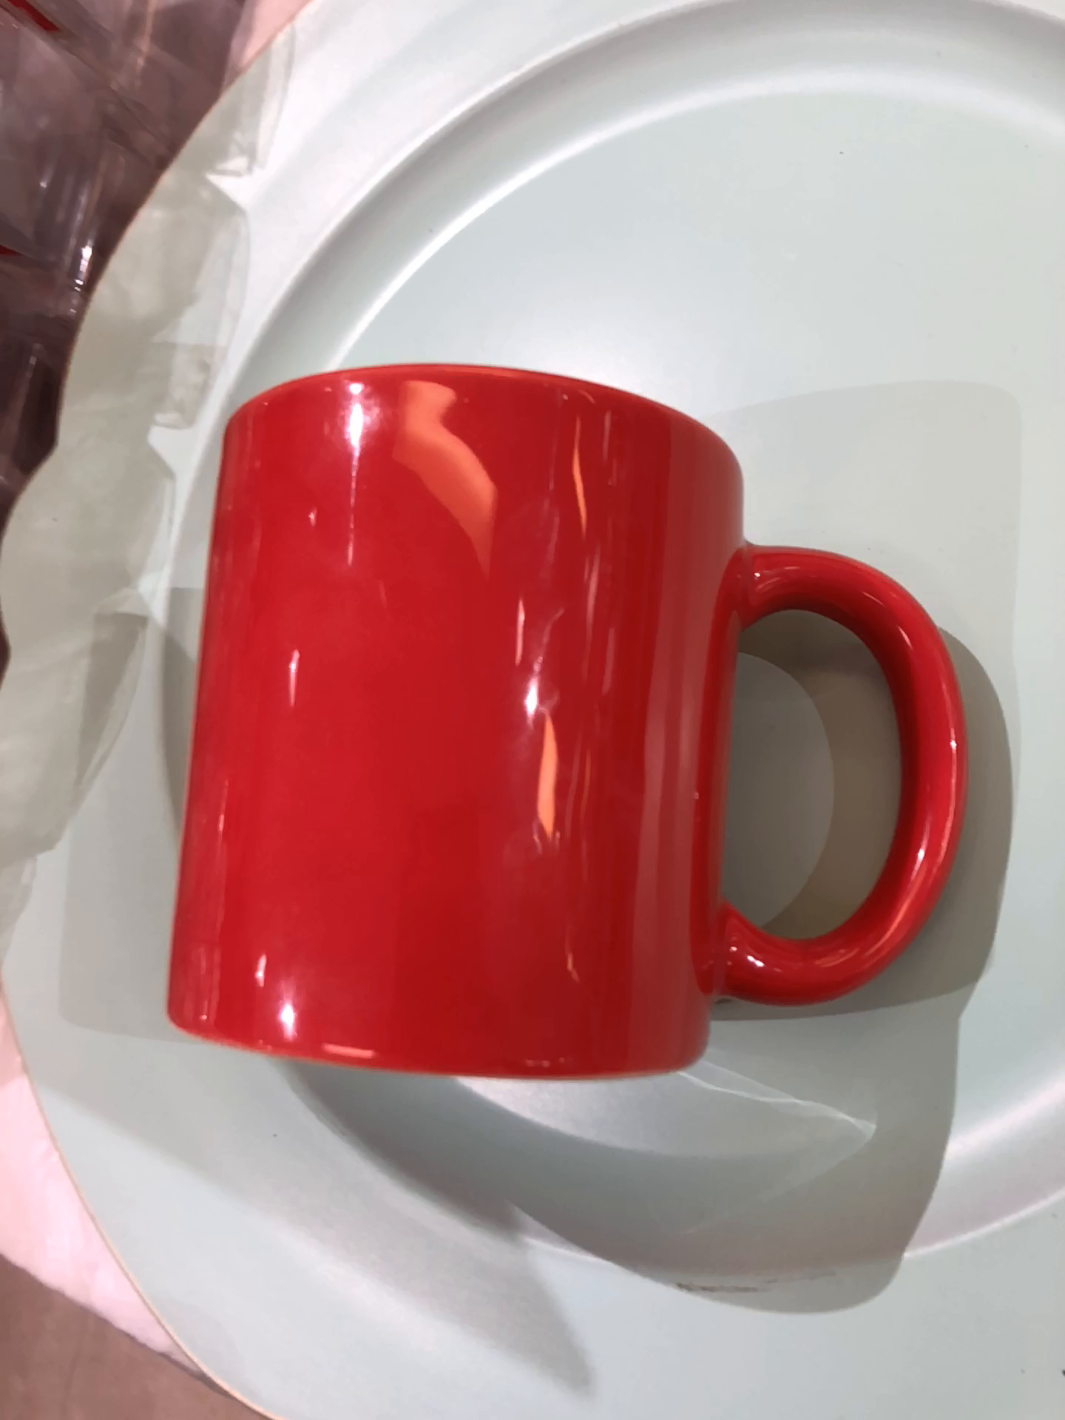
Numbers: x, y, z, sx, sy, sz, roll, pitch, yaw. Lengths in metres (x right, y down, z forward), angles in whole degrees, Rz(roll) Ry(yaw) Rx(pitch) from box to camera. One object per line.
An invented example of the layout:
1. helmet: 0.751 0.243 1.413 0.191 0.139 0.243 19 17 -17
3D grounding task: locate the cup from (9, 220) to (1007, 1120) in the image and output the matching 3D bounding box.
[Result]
1. cup: -0.001 -0.002 0.169 0.110 0.060 0.100 1 80 -4
